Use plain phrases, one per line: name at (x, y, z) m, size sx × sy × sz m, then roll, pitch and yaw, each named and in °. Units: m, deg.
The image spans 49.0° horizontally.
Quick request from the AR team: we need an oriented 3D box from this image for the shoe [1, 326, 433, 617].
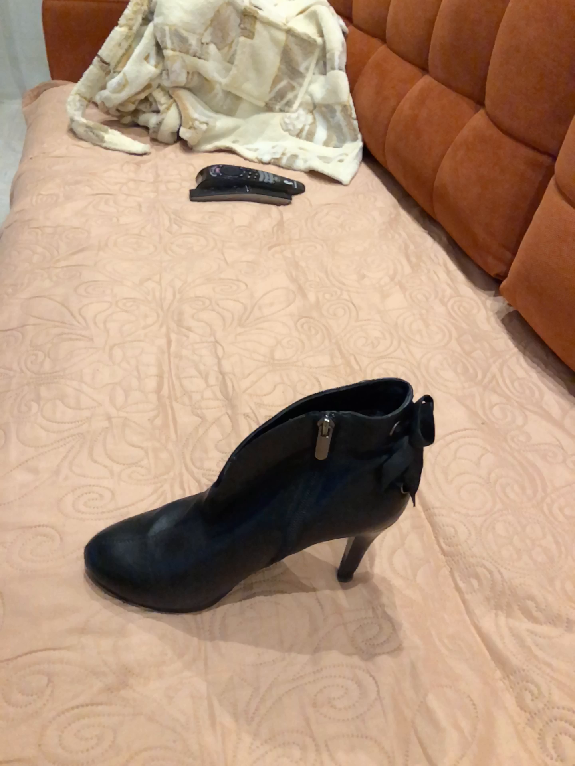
shoe at (-0.040, 0.062, 0.413) m, size 0.220 × 0.169 × 0.096 m, roll 1°, pitch 39°, yaw -4°
